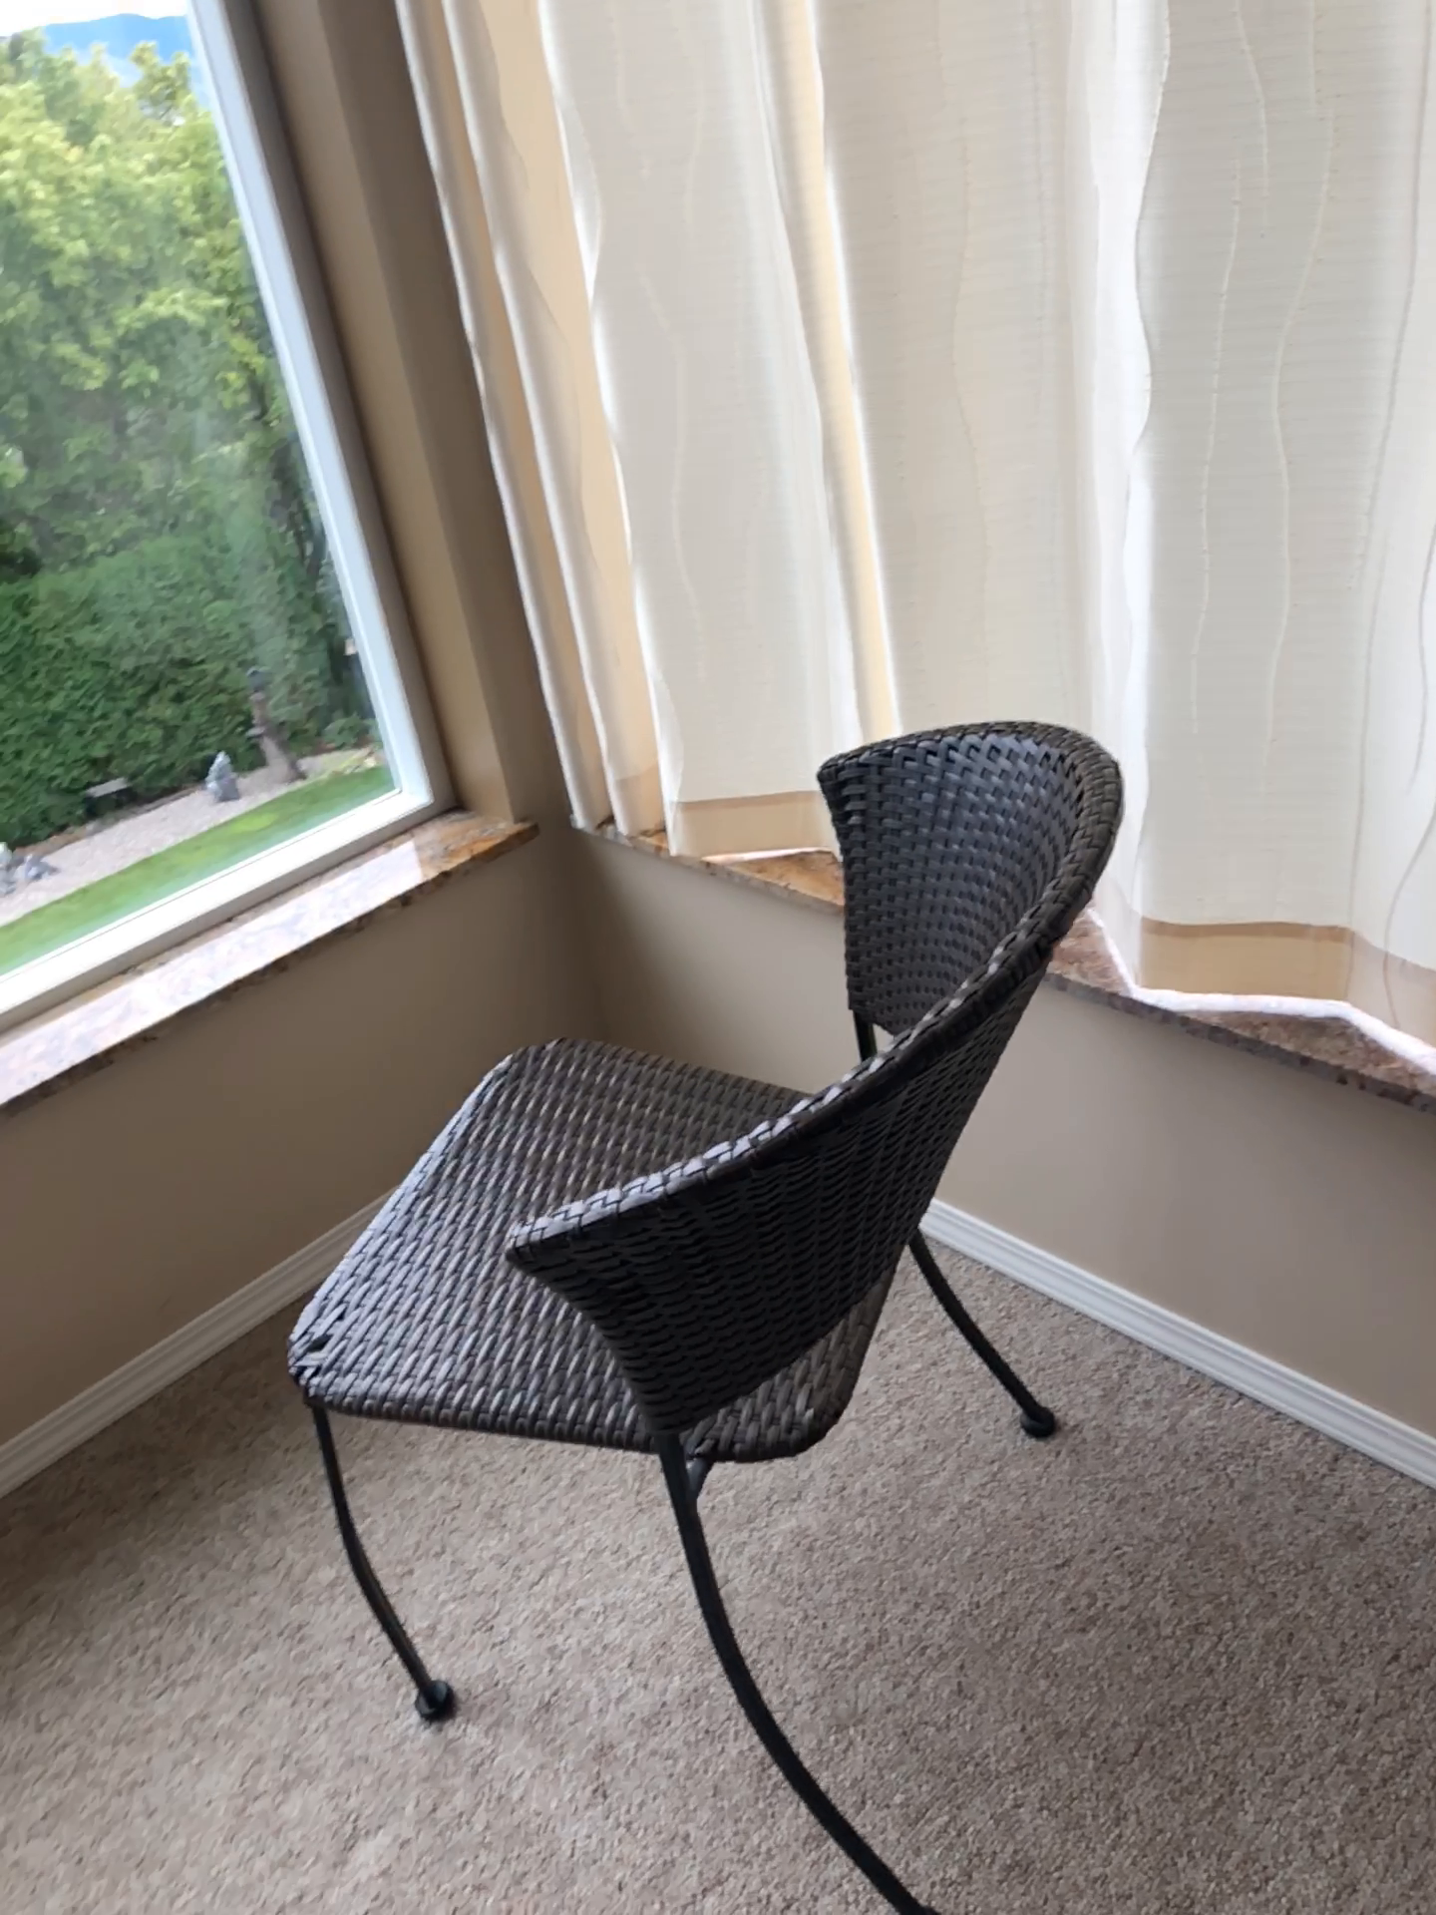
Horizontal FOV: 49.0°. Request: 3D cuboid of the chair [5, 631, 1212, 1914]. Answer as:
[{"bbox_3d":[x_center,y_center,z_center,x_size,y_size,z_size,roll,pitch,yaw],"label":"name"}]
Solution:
[{"bbox_3d":[0.021,0.226,1.218,0.611,0.787,0.562,5,33,23],"label":"chair"}]
